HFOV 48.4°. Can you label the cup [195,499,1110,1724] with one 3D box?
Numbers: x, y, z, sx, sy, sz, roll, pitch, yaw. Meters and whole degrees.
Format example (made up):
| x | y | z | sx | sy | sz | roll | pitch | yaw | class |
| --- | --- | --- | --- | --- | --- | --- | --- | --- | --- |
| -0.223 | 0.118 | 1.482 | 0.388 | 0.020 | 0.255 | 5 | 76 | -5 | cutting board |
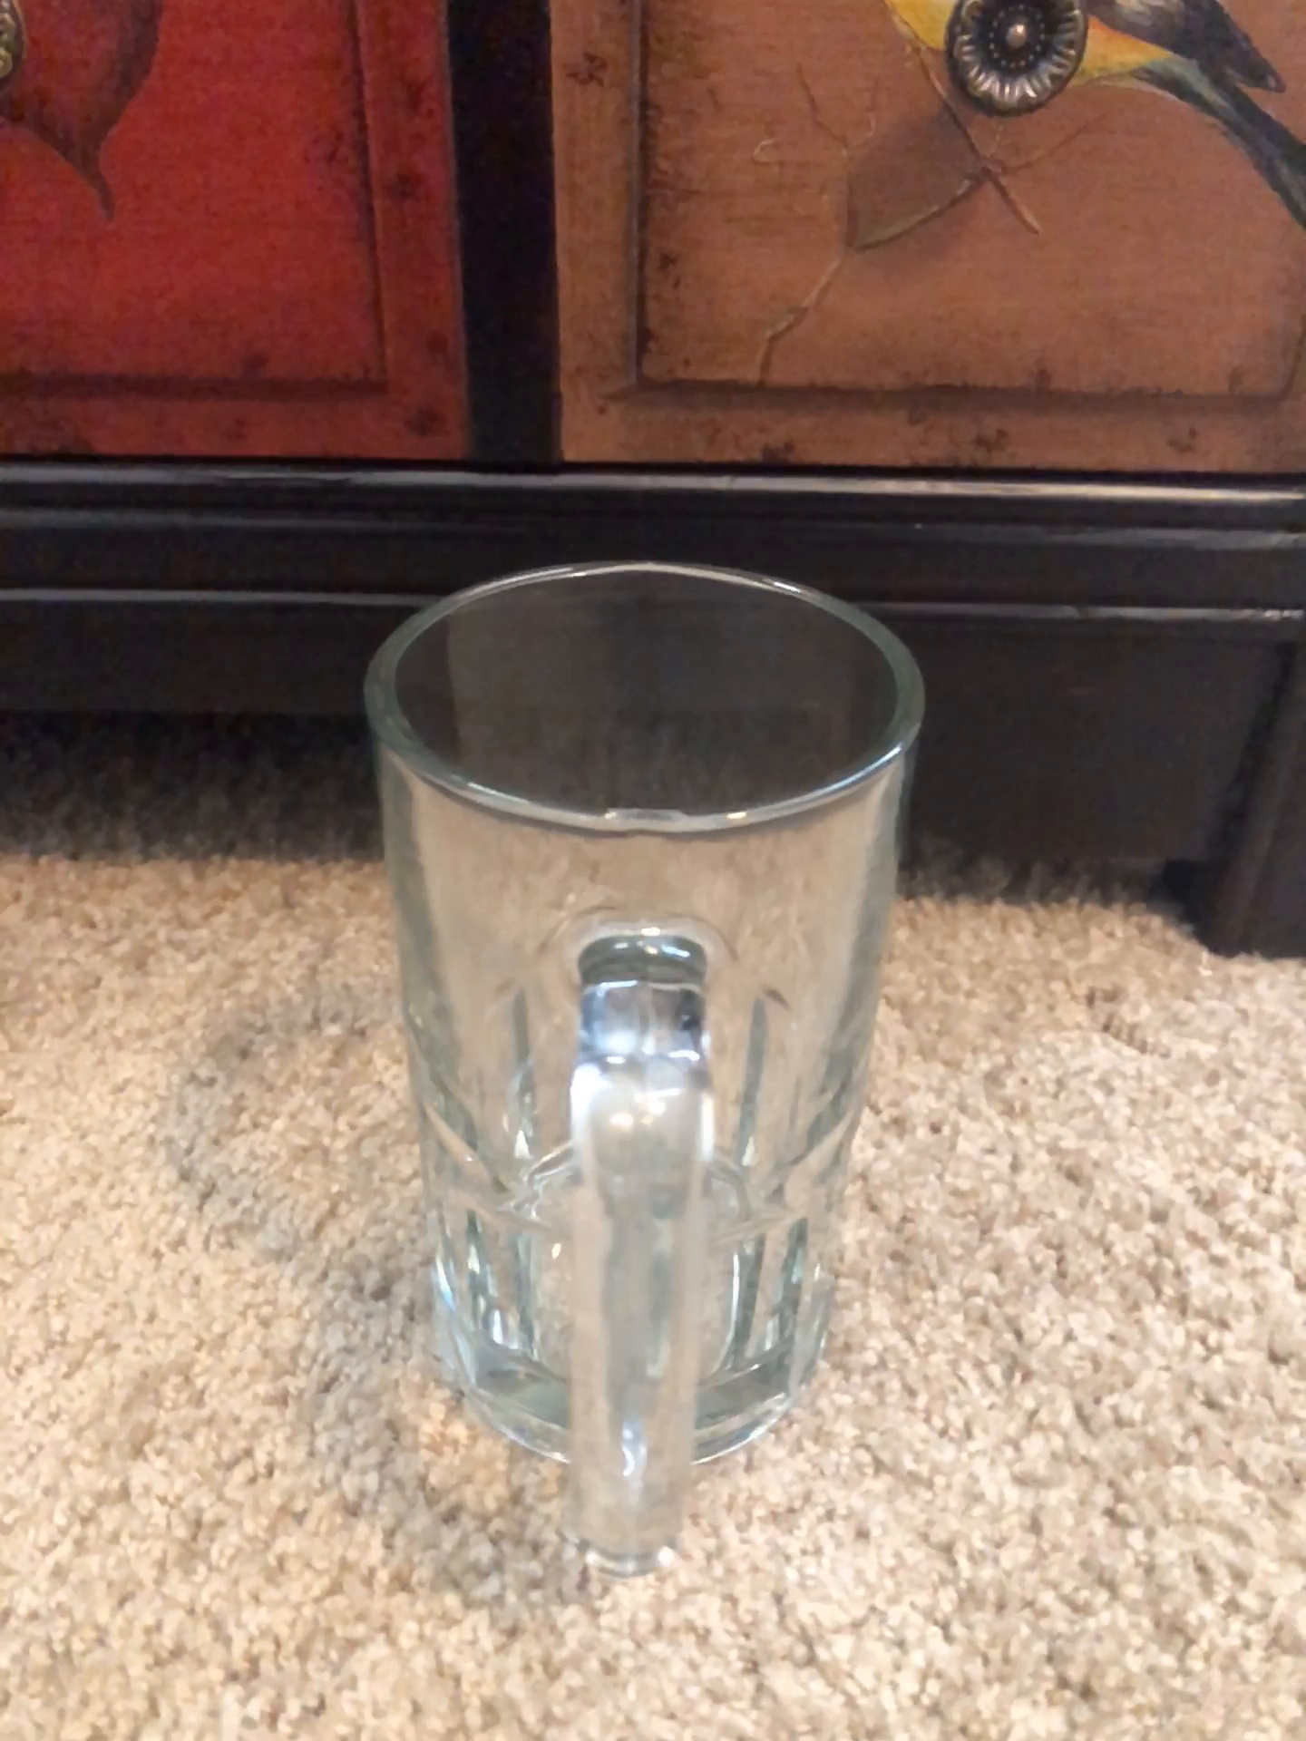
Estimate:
| x | y | z | sx | sy | sz | roll | pitch | yaw | class |
| --- | --- | --- | --- | --- | --- | --- | --- | --- | --- |
| -0.005 | 0.037 | 0.251 | 0.096 | 0.156 | 0.134 | 2 | 33 | -3 | cup |
